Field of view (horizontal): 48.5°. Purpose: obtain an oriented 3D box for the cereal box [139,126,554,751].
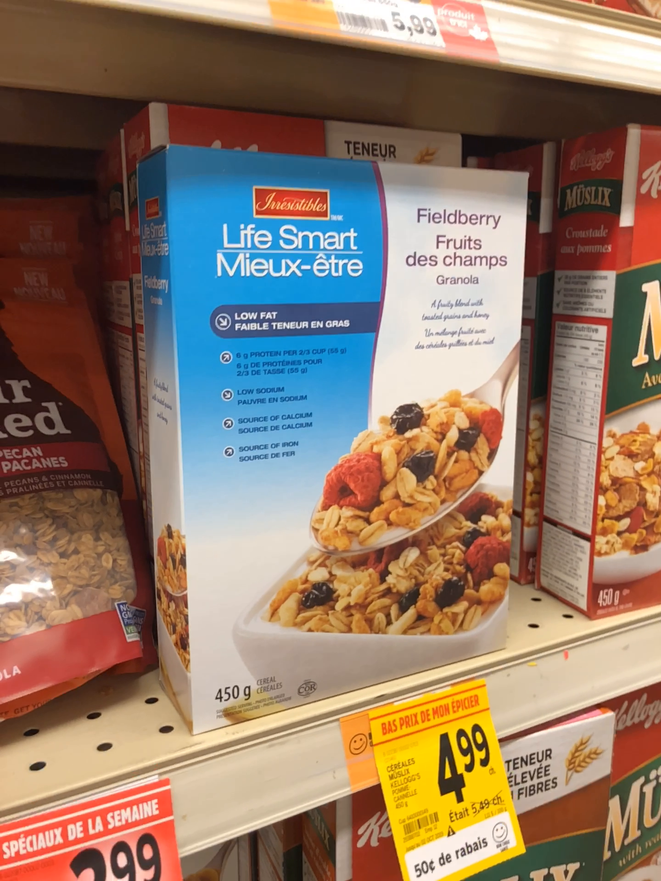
[{"bbox_3d":[0.010,-0.003,0.333,0.170,0.239,0.050,-6,13,-26],"label":"cereal box"}]
